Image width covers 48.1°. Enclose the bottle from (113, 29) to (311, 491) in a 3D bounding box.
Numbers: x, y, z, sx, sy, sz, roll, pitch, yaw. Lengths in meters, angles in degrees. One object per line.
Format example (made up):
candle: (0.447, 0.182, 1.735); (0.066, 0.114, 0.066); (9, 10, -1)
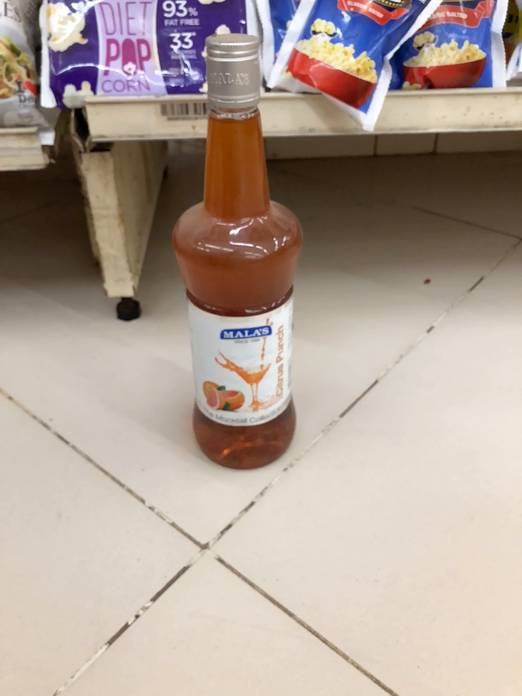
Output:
bottle: (-0.023, -0.040, 0.387); (0.090, 0.288, 0.091); (-1, 37, 1)
